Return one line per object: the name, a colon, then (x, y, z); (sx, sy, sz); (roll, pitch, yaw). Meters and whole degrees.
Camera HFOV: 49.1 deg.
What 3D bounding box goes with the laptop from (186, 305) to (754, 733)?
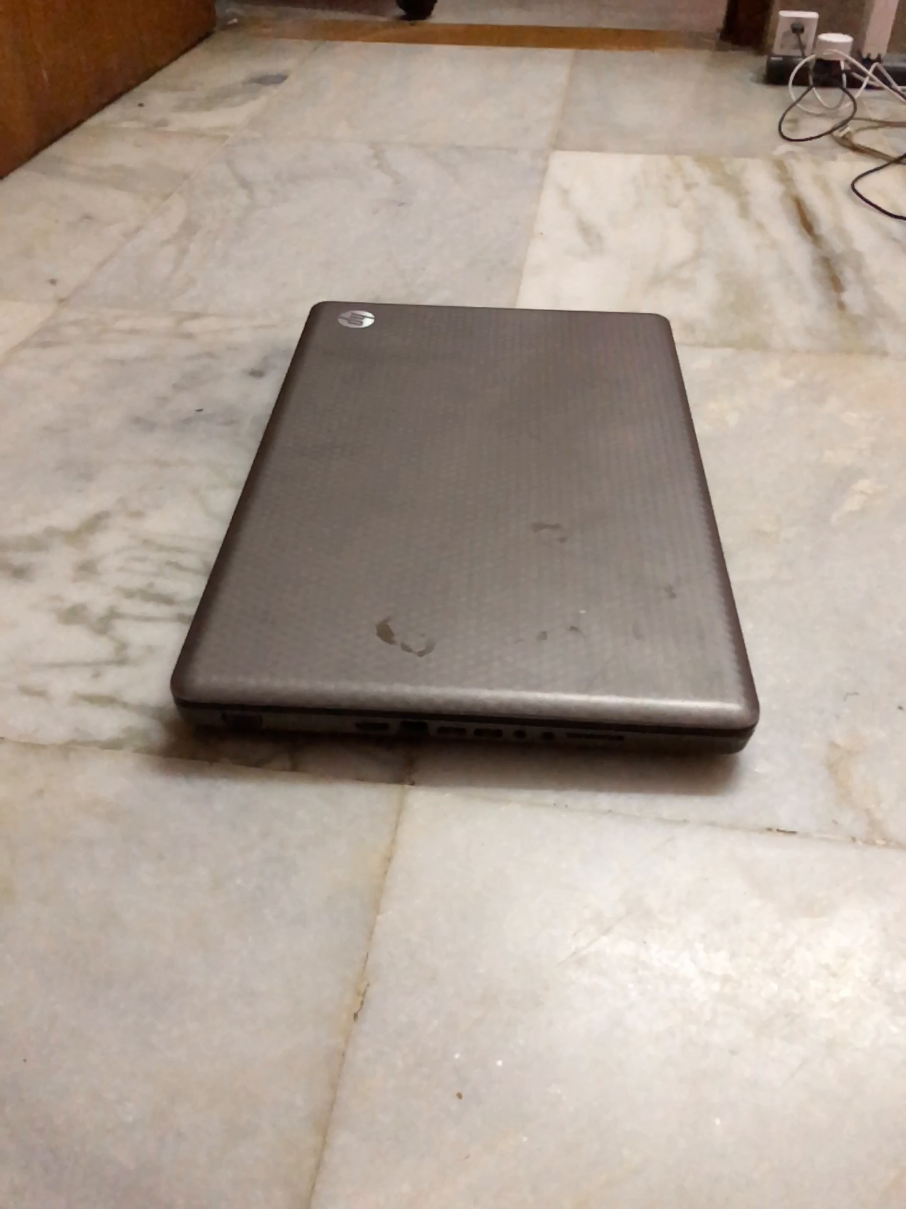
laptop: (0.018, -0.083, 0.588); (0.252, 0.003, 0.396); (3, 42, 2)
